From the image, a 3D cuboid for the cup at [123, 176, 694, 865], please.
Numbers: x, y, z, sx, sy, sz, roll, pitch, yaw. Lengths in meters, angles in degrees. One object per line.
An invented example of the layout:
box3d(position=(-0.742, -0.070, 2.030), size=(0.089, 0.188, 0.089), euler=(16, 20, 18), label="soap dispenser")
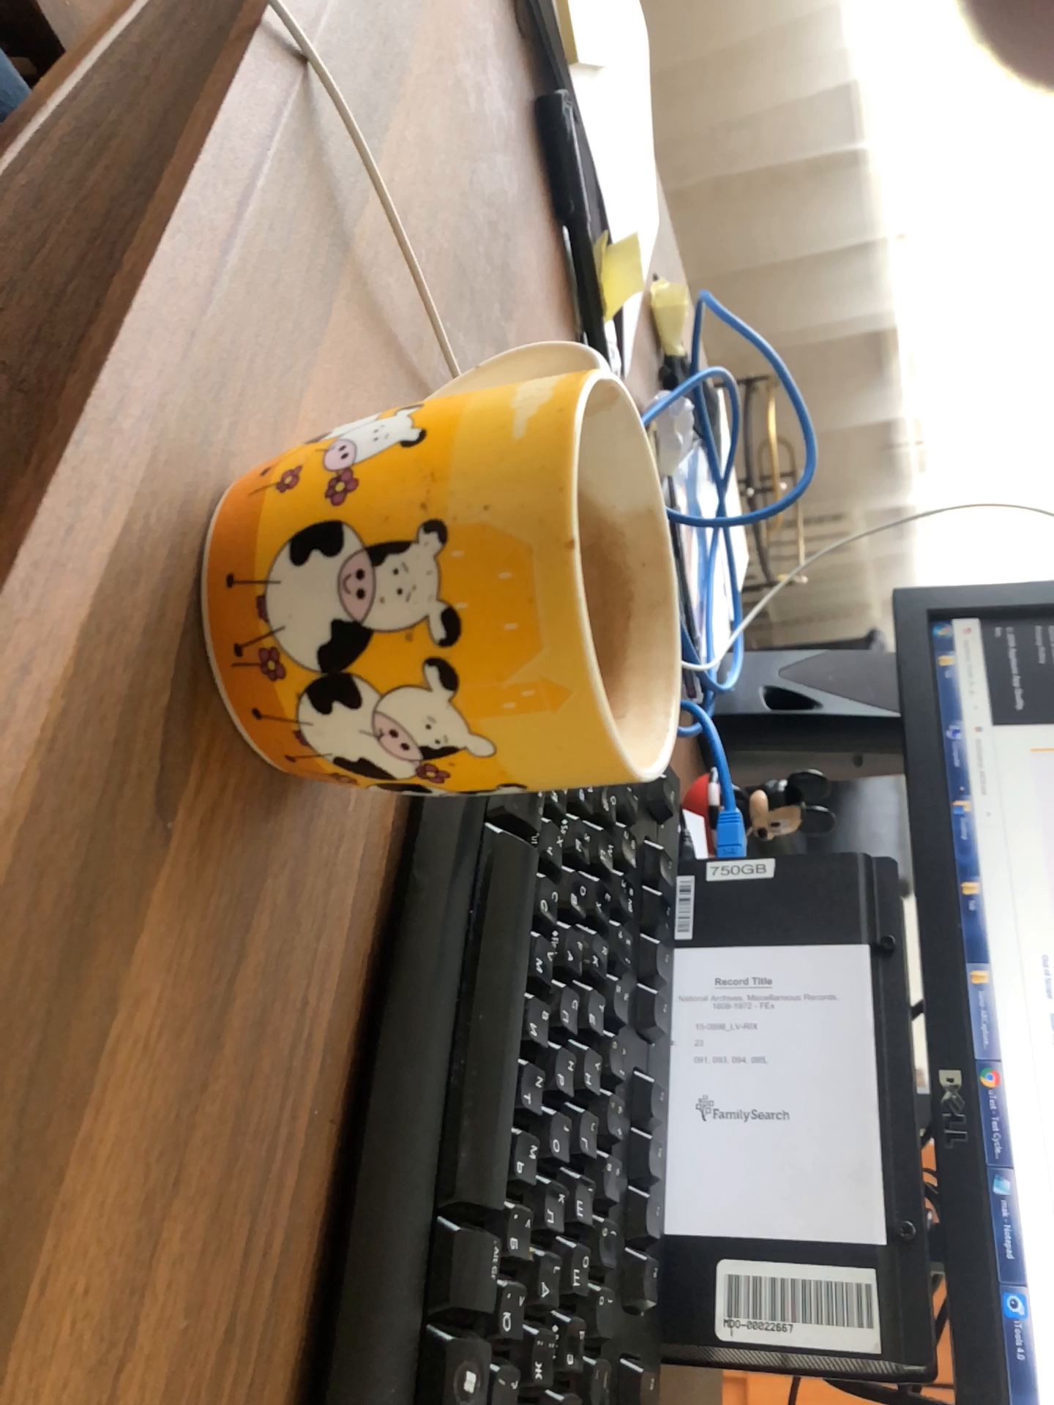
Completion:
box3d(position=(-0.016, -0.042, 0.298), size=(0.092, 0.095, 0.135), euler=(59, 32, -51), label="cup")
